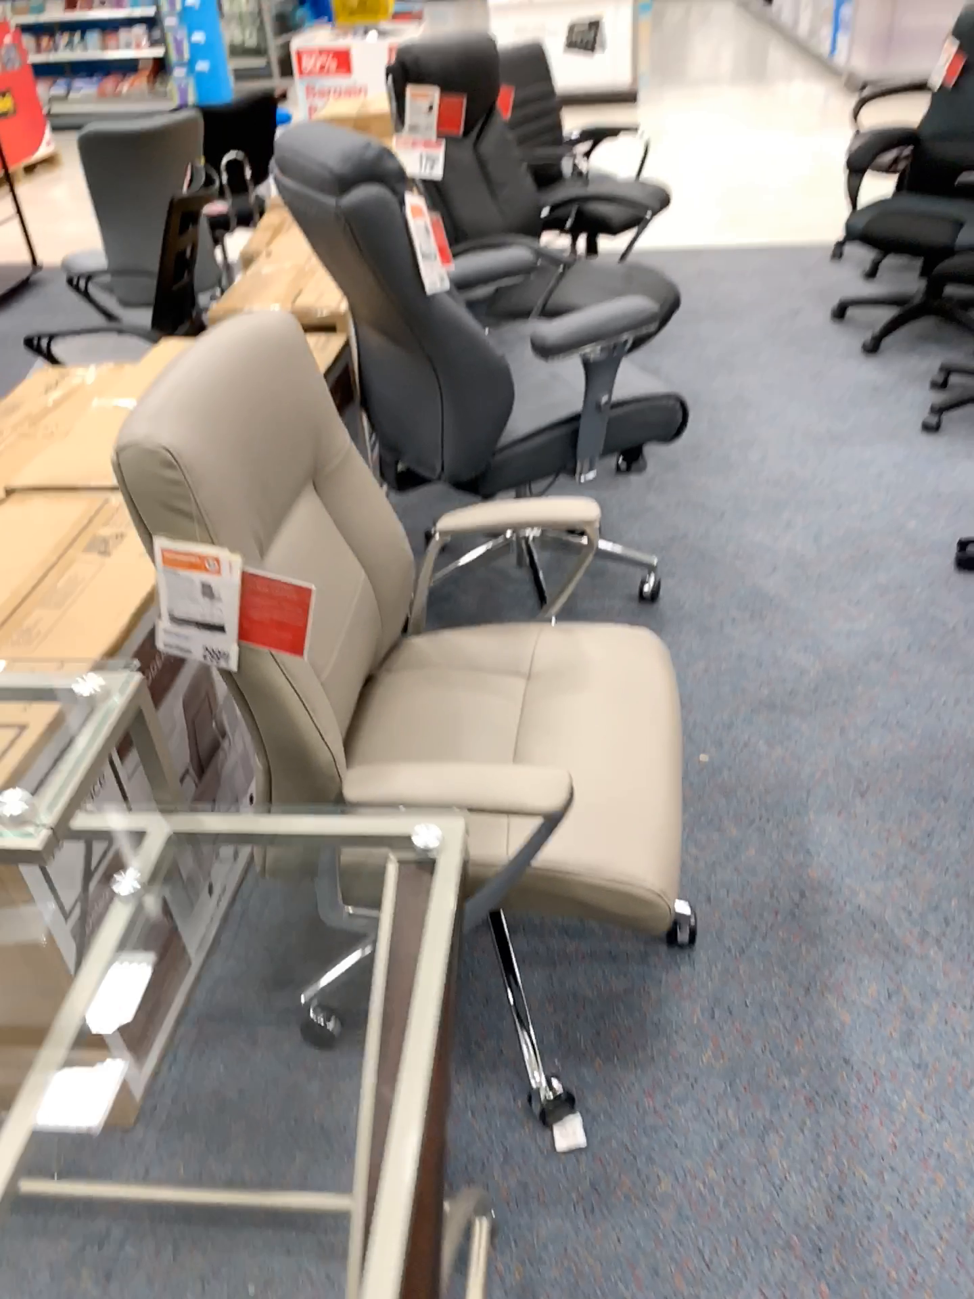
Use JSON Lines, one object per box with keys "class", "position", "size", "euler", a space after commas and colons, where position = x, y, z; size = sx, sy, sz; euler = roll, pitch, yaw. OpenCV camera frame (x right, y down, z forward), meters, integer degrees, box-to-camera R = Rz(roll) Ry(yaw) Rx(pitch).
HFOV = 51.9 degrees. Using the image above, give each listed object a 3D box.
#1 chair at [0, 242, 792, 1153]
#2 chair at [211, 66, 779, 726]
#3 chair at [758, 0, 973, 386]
{"class": "chair", "position": [-0.025, 0.050, 1.355], "size": [0.674, 0.956, 0.694], "euler": [3, 37, 9]}
{"class": "chair", "position": [-0.007, -0.594, 2.199], "size": [0.814, 1.056, 0.815], "euler": [-17, 38, -17]}
{"class": "chair", "position": [1.616, -1.637, 3.462], "size": [0.935, 1.016, 0.814], "euler": [-27, 42, -28]}
